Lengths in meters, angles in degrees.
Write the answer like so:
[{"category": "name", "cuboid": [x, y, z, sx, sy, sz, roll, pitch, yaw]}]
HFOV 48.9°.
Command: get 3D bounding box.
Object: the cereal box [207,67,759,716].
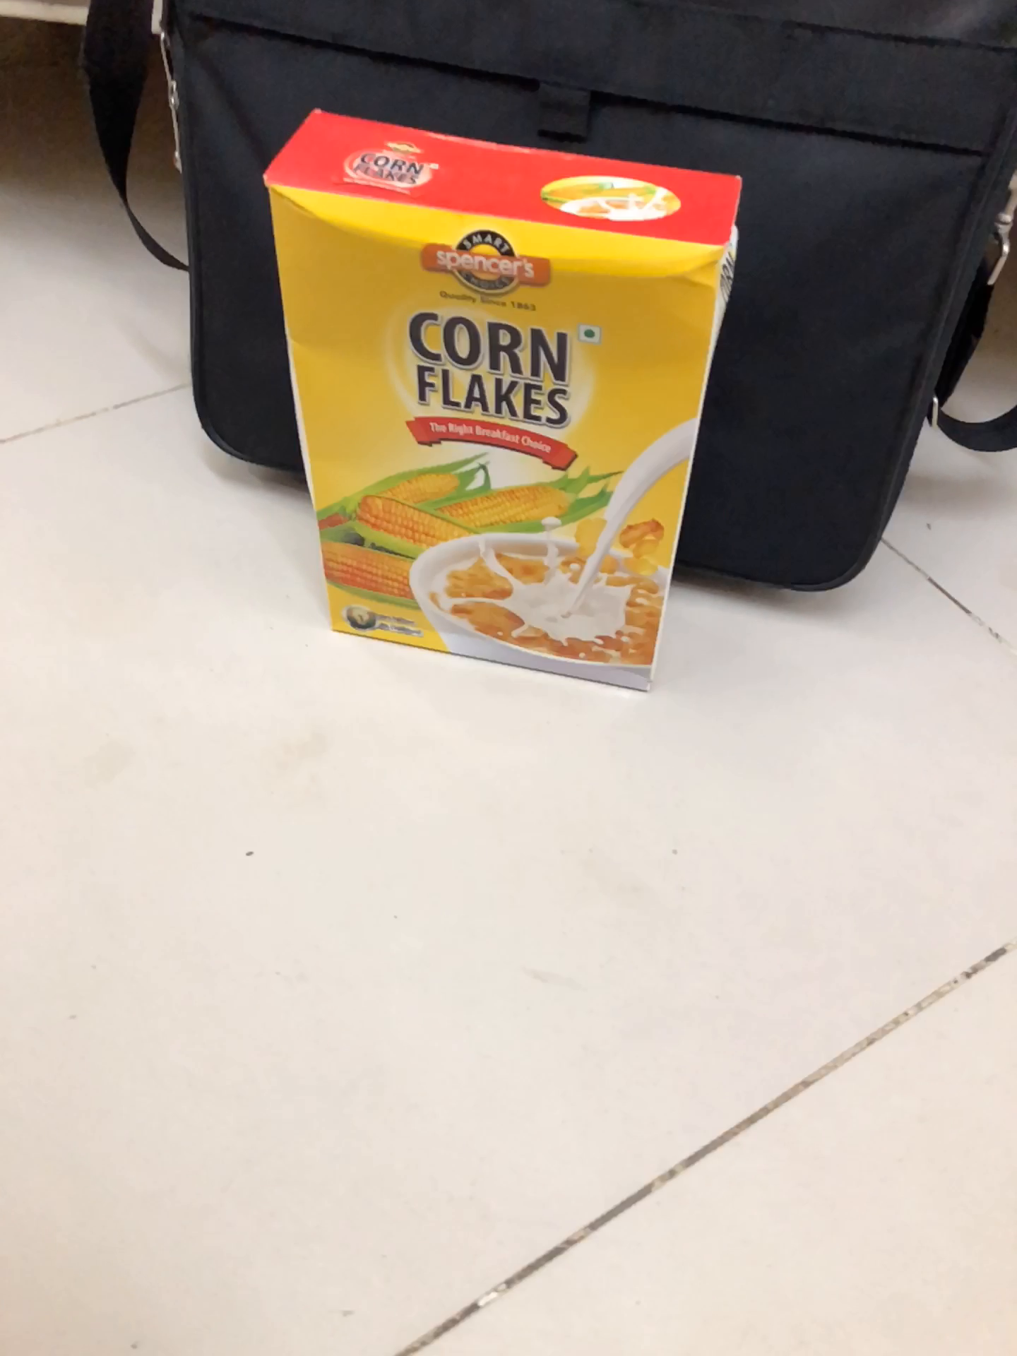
[{"category": "cereal box", "cuboid": [-0.008, -0.112, 0.511, 0.190, 0.268, 0.070, 11, 50, 9]}]
